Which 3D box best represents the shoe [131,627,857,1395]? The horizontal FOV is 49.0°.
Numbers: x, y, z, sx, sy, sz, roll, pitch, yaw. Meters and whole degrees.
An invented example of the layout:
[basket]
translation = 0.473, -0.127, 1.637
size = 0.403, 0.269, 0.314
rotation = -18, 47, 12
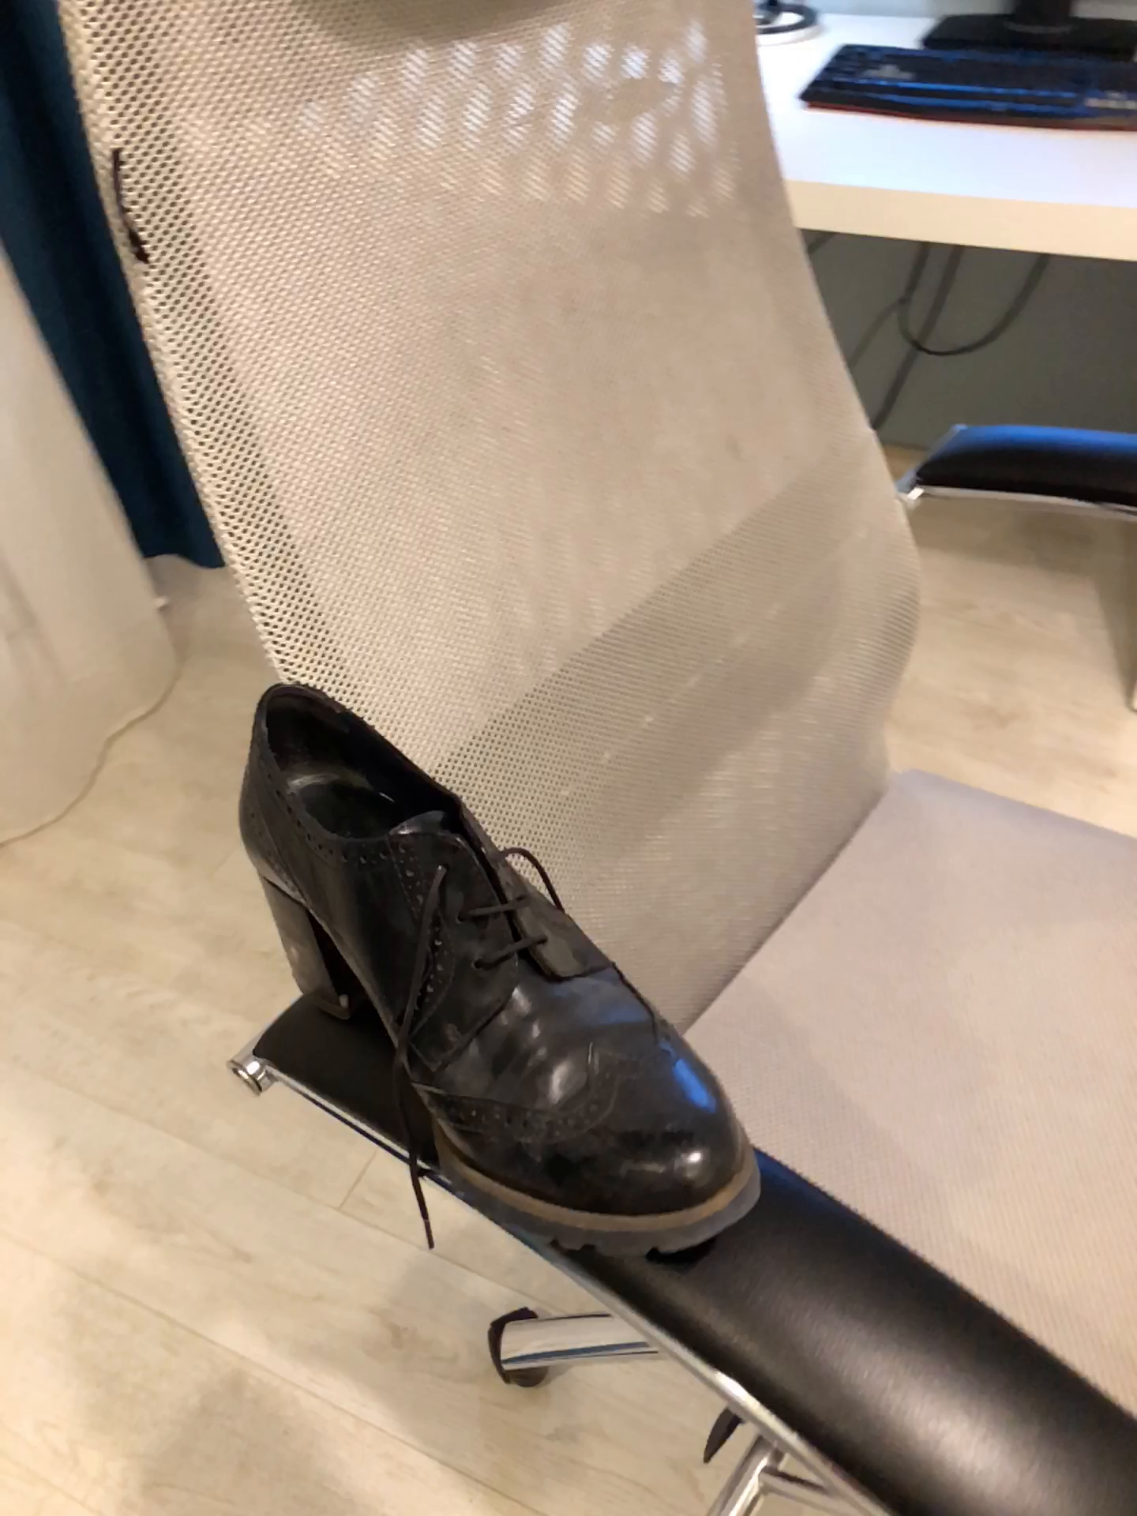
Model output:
[shoe]
translation = -0.034, 0.065, 0.431
size = 0.100, 0.119, 0.251
rotation = -32, 40, -27
